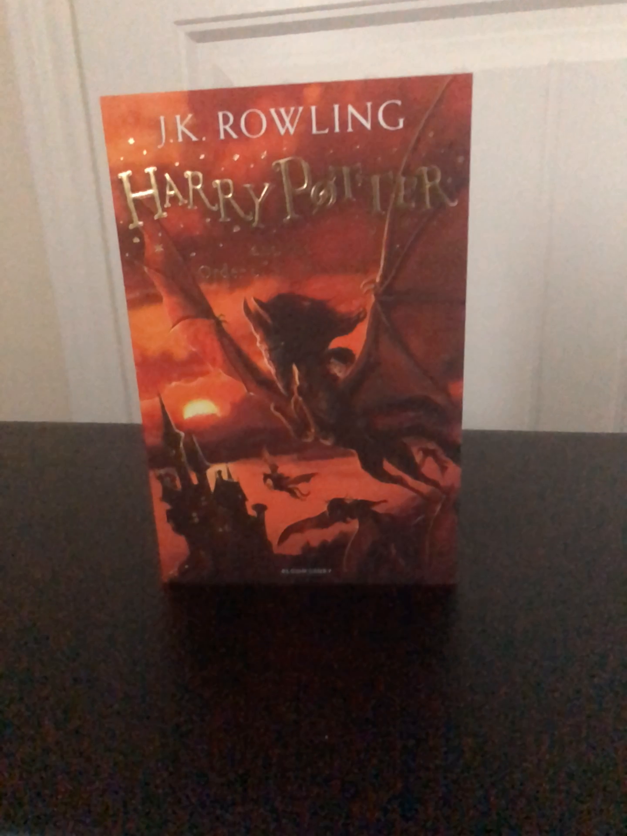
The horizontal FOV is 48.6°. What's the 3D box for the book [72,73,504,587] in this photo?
[{"bbox_3d":[-0.004,-0.030,0.286,0.141,0.189,0.062,-1,20,4],"label":"book"}]
